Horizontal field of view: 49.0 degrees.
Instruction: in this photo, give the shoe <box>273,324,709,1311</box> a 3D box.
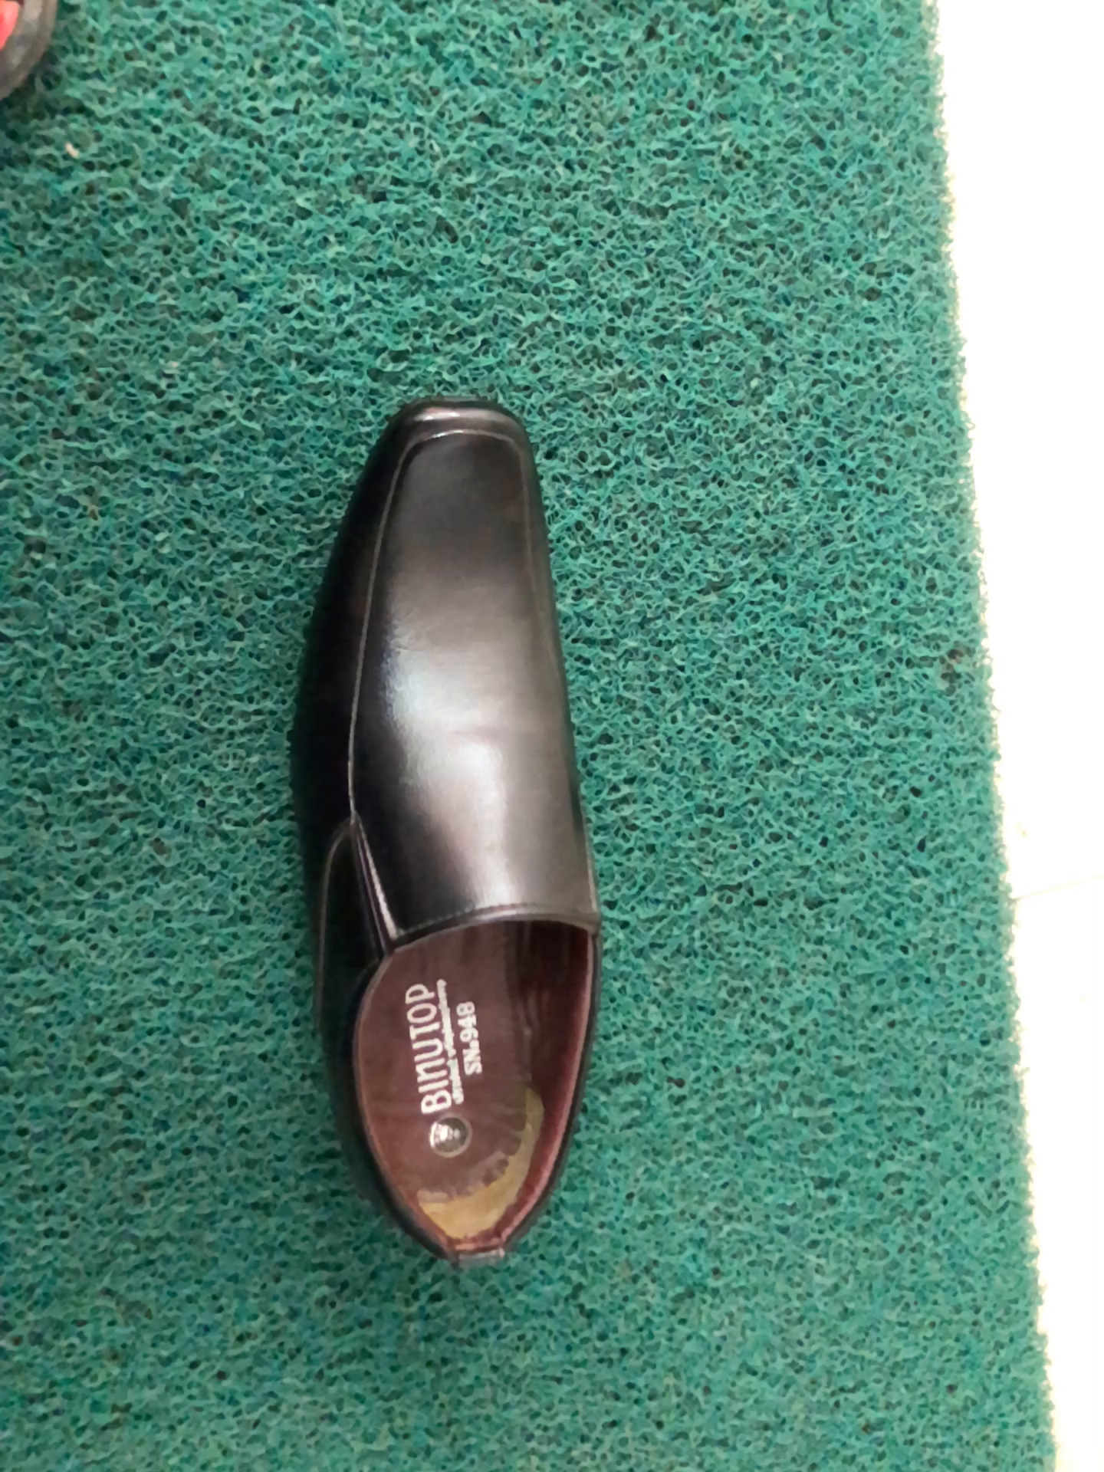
[{"bbox_3d":[-0.027,0.019,0.404,0.110,0.130,0.270,-2,98,-17],"label":"shoe"}]
